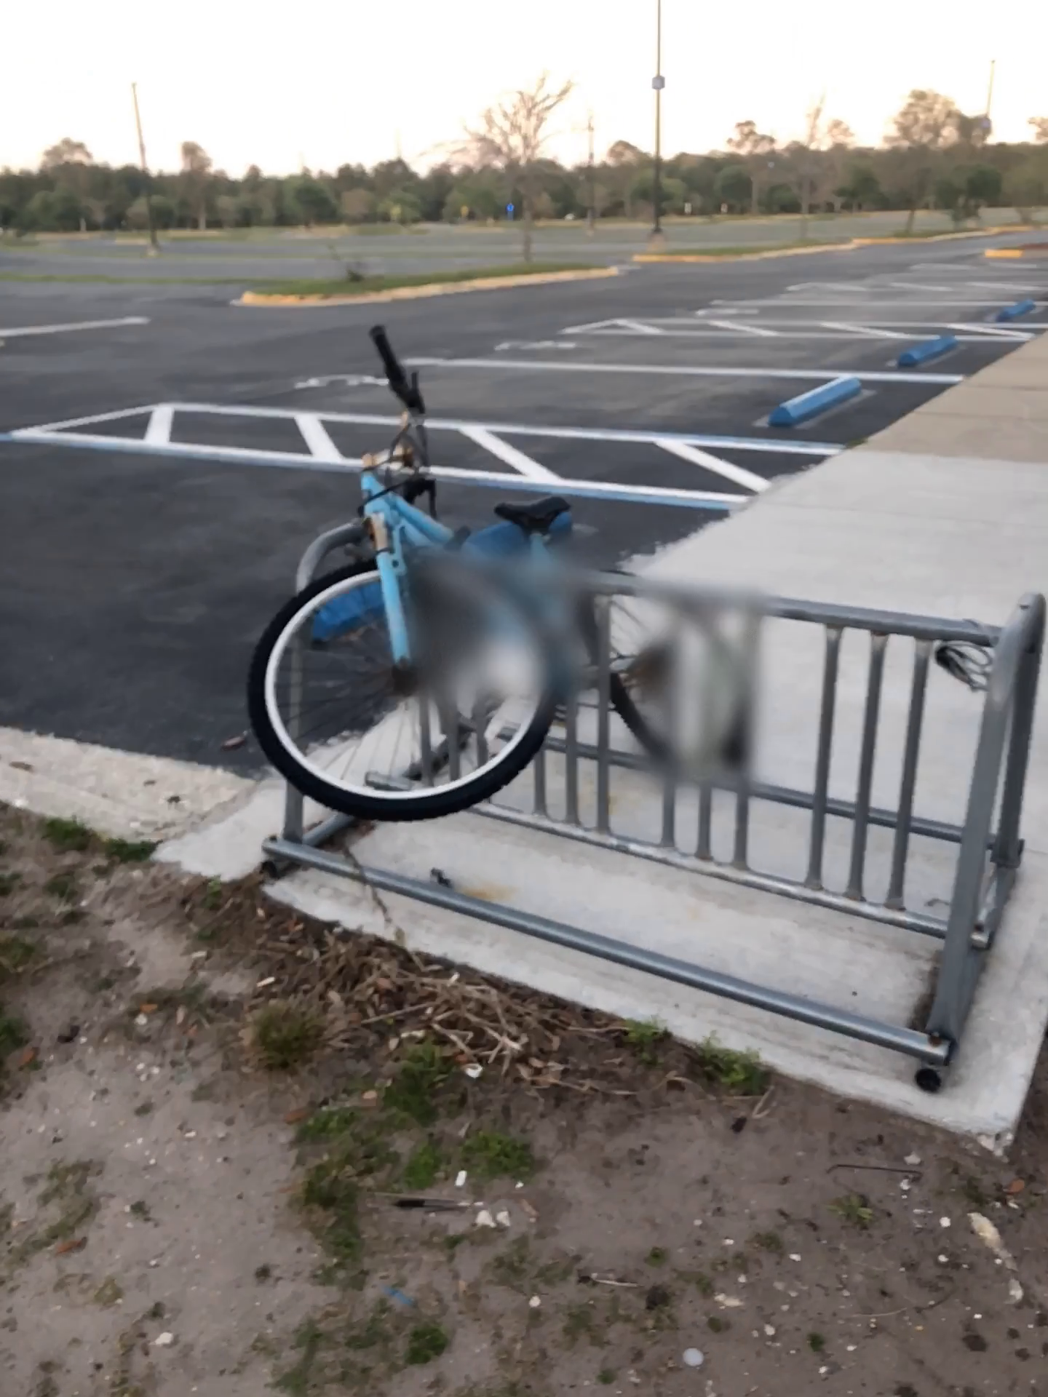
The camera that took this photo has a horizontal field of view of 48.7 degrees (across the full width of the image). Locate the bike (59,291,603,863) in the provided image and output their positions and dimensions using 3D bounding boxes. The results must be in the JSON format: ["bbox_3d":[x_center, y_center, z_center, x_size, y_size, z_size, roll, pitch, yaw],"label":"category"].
[{"bbox_3d":[-0.383,-0.330,2.680,0.939,1.128,0.549,-15,25,-34],"label":"bike"}]
